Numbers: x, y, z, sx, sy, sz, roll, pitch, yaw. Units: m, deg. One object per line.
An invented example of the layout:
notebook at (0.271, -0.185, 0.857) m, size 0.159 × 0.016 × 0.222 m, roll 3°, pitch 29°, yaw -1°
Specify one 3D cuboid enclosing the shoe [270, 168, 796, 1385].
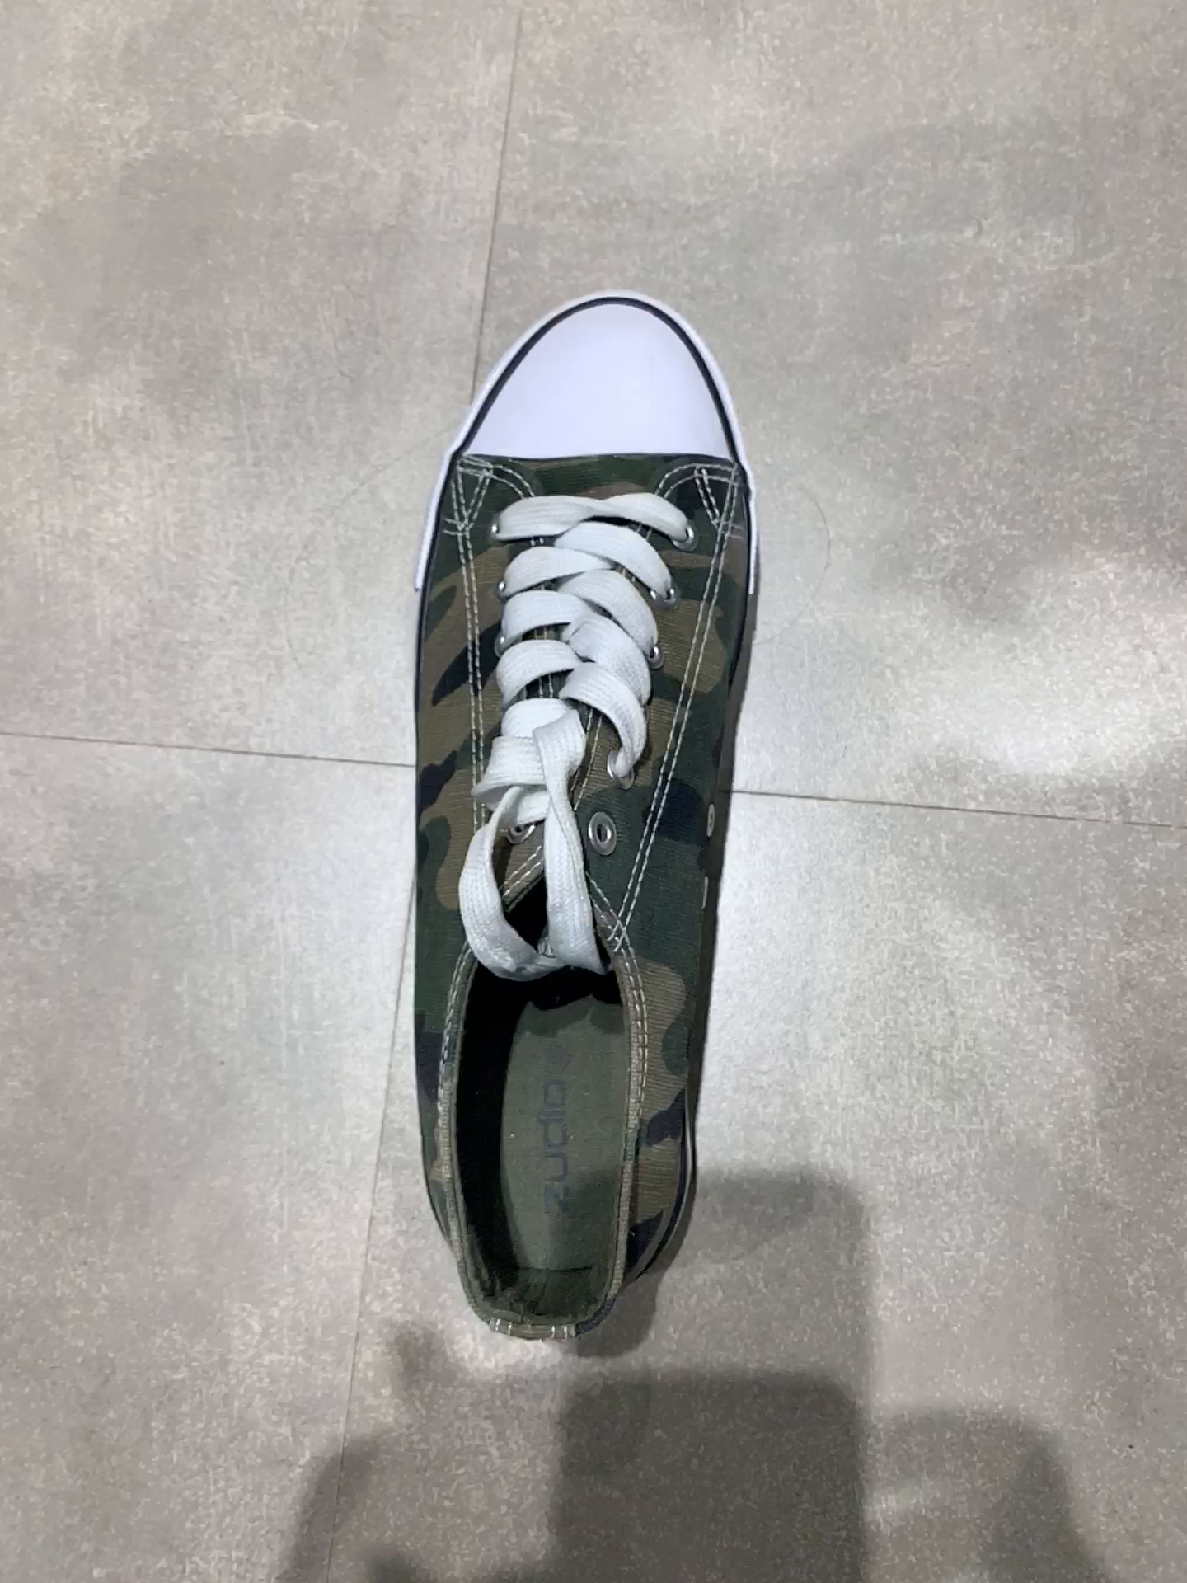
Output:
shoe at (-0.006, -0.010, 0.303) m, size 0.099 × 0.079 × 0.266 m, roll 2°, pitch 79°, yaw 4°
